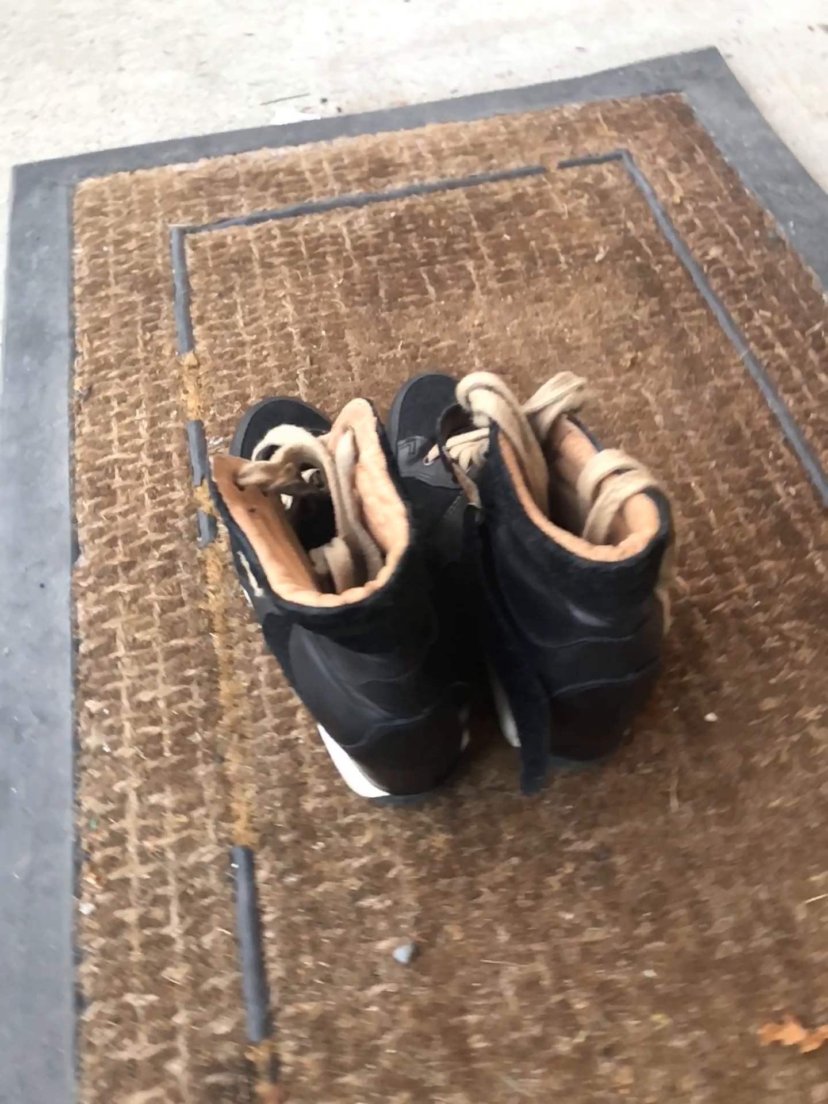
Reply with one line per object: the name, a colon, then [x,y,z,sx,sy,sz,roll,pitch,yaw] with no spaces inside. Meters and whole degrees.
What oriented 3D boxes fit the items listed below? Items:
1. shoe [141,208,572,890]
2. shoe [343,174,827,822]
shoe: [-0.032,-0.005,0.404,0.090,0.159,0.241,-18,56,-10]
shoe: [0.053,-0.027,0.413,0.090,0.159,0.231,-18,56,-10]
